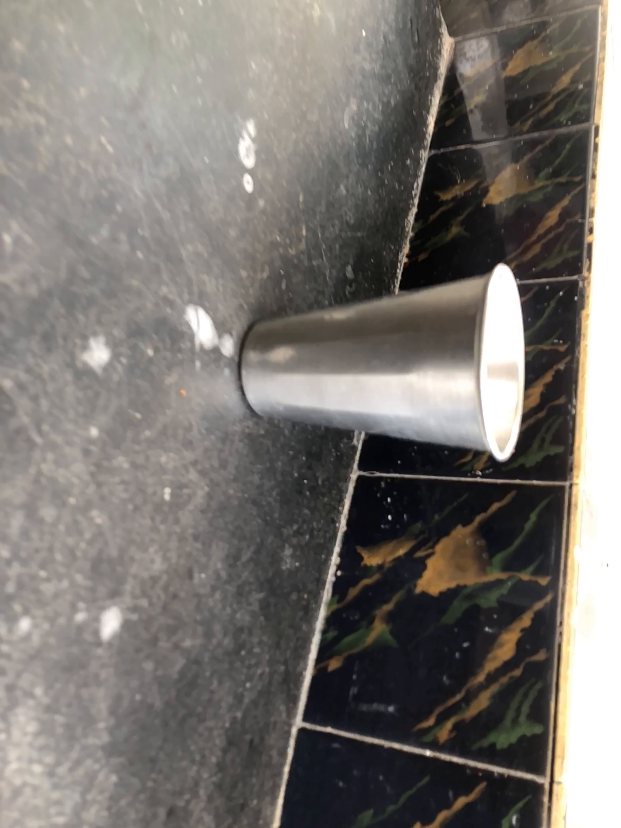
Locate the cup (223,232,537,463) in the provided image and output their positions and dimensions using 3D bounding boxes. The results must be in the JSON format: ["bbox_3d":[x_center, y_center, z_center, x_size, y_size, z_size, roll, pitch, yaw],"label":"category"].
[{"bbox_3d":[0.035,-0.024,0.308,0.071,0.119,0.080,24,69,-63],"label":"cup"}]
